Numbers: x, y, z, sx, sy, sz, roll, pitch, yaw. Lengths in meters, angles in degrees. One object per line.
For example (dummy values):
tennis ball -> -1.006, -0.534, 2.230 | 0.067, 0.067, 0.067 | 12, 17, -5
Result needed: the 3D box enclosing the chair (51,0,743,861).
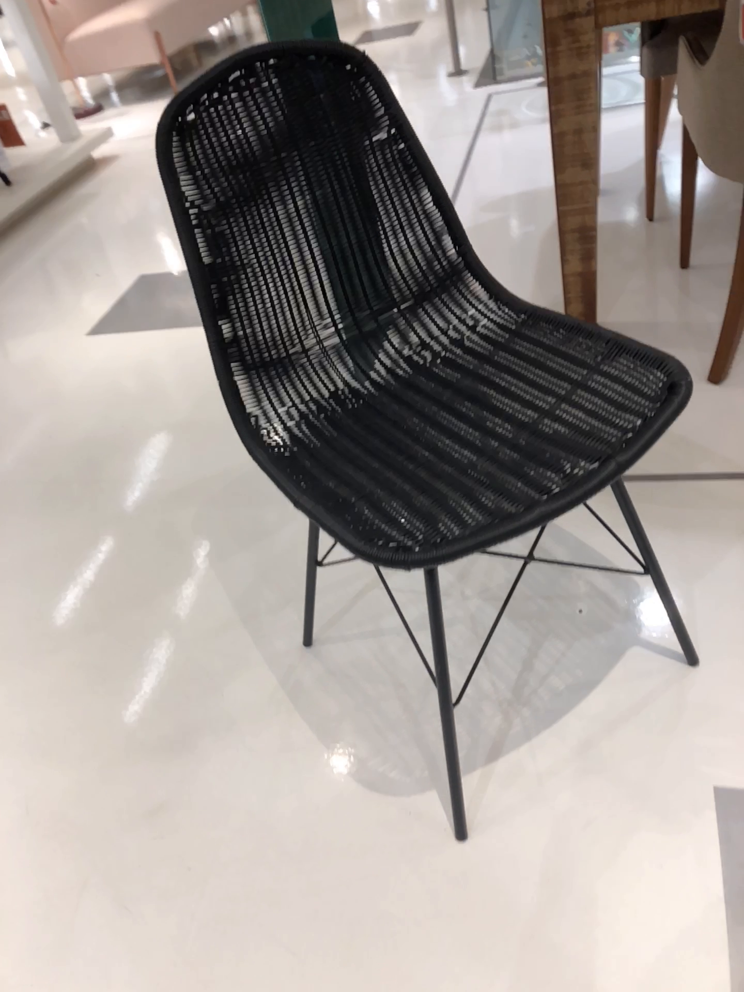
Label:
chair -> 0.077, -0.105, 1.007 | 0.481, 0.794, 0.553 | -30, 40, -19
